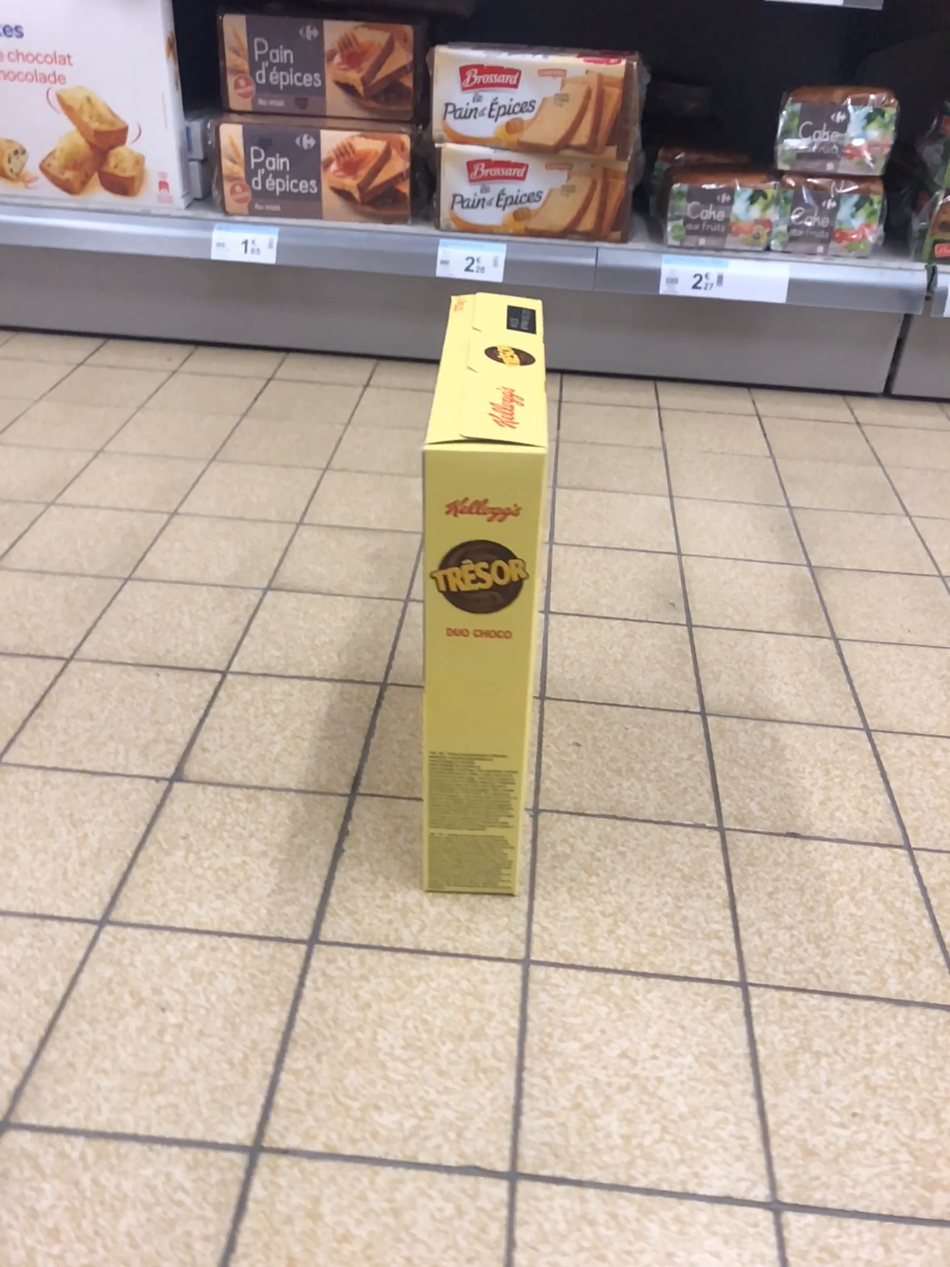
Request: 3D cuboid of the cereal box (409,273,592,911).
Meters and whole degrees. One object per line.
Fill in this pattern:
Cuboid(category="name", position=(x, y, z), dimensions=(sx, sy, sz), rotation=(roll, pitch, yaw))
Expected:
Cuboid(category="cereal box", position=(0.009, -0.026, 0.511), dimensions=(0.060, 0.238, 0.201), rotation=(4, 33, 1))
